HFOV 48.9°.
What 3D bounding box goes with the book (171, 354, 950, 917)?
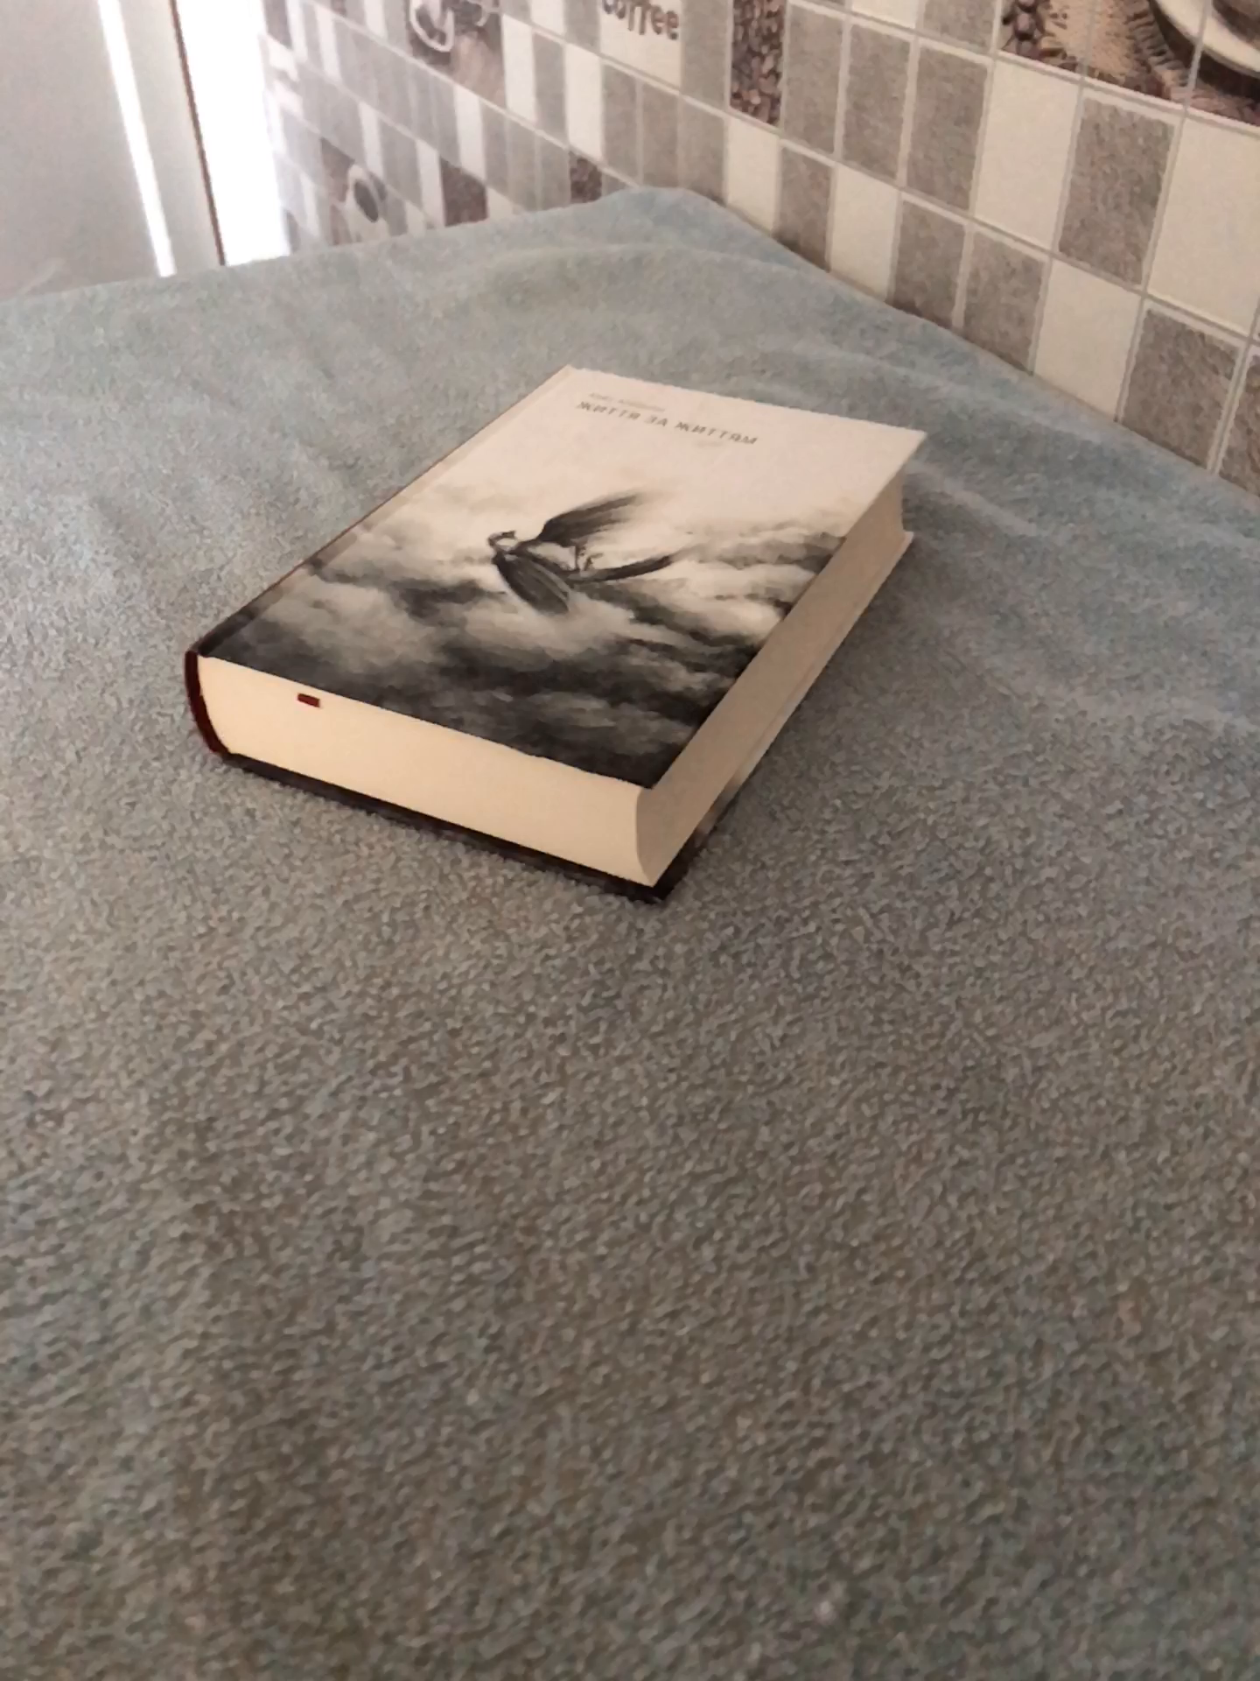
[{"bbox_3d":[-0.008,-0.084,0.445,0.155,0.040,0.221,18,45,20],"label":"book"}]
